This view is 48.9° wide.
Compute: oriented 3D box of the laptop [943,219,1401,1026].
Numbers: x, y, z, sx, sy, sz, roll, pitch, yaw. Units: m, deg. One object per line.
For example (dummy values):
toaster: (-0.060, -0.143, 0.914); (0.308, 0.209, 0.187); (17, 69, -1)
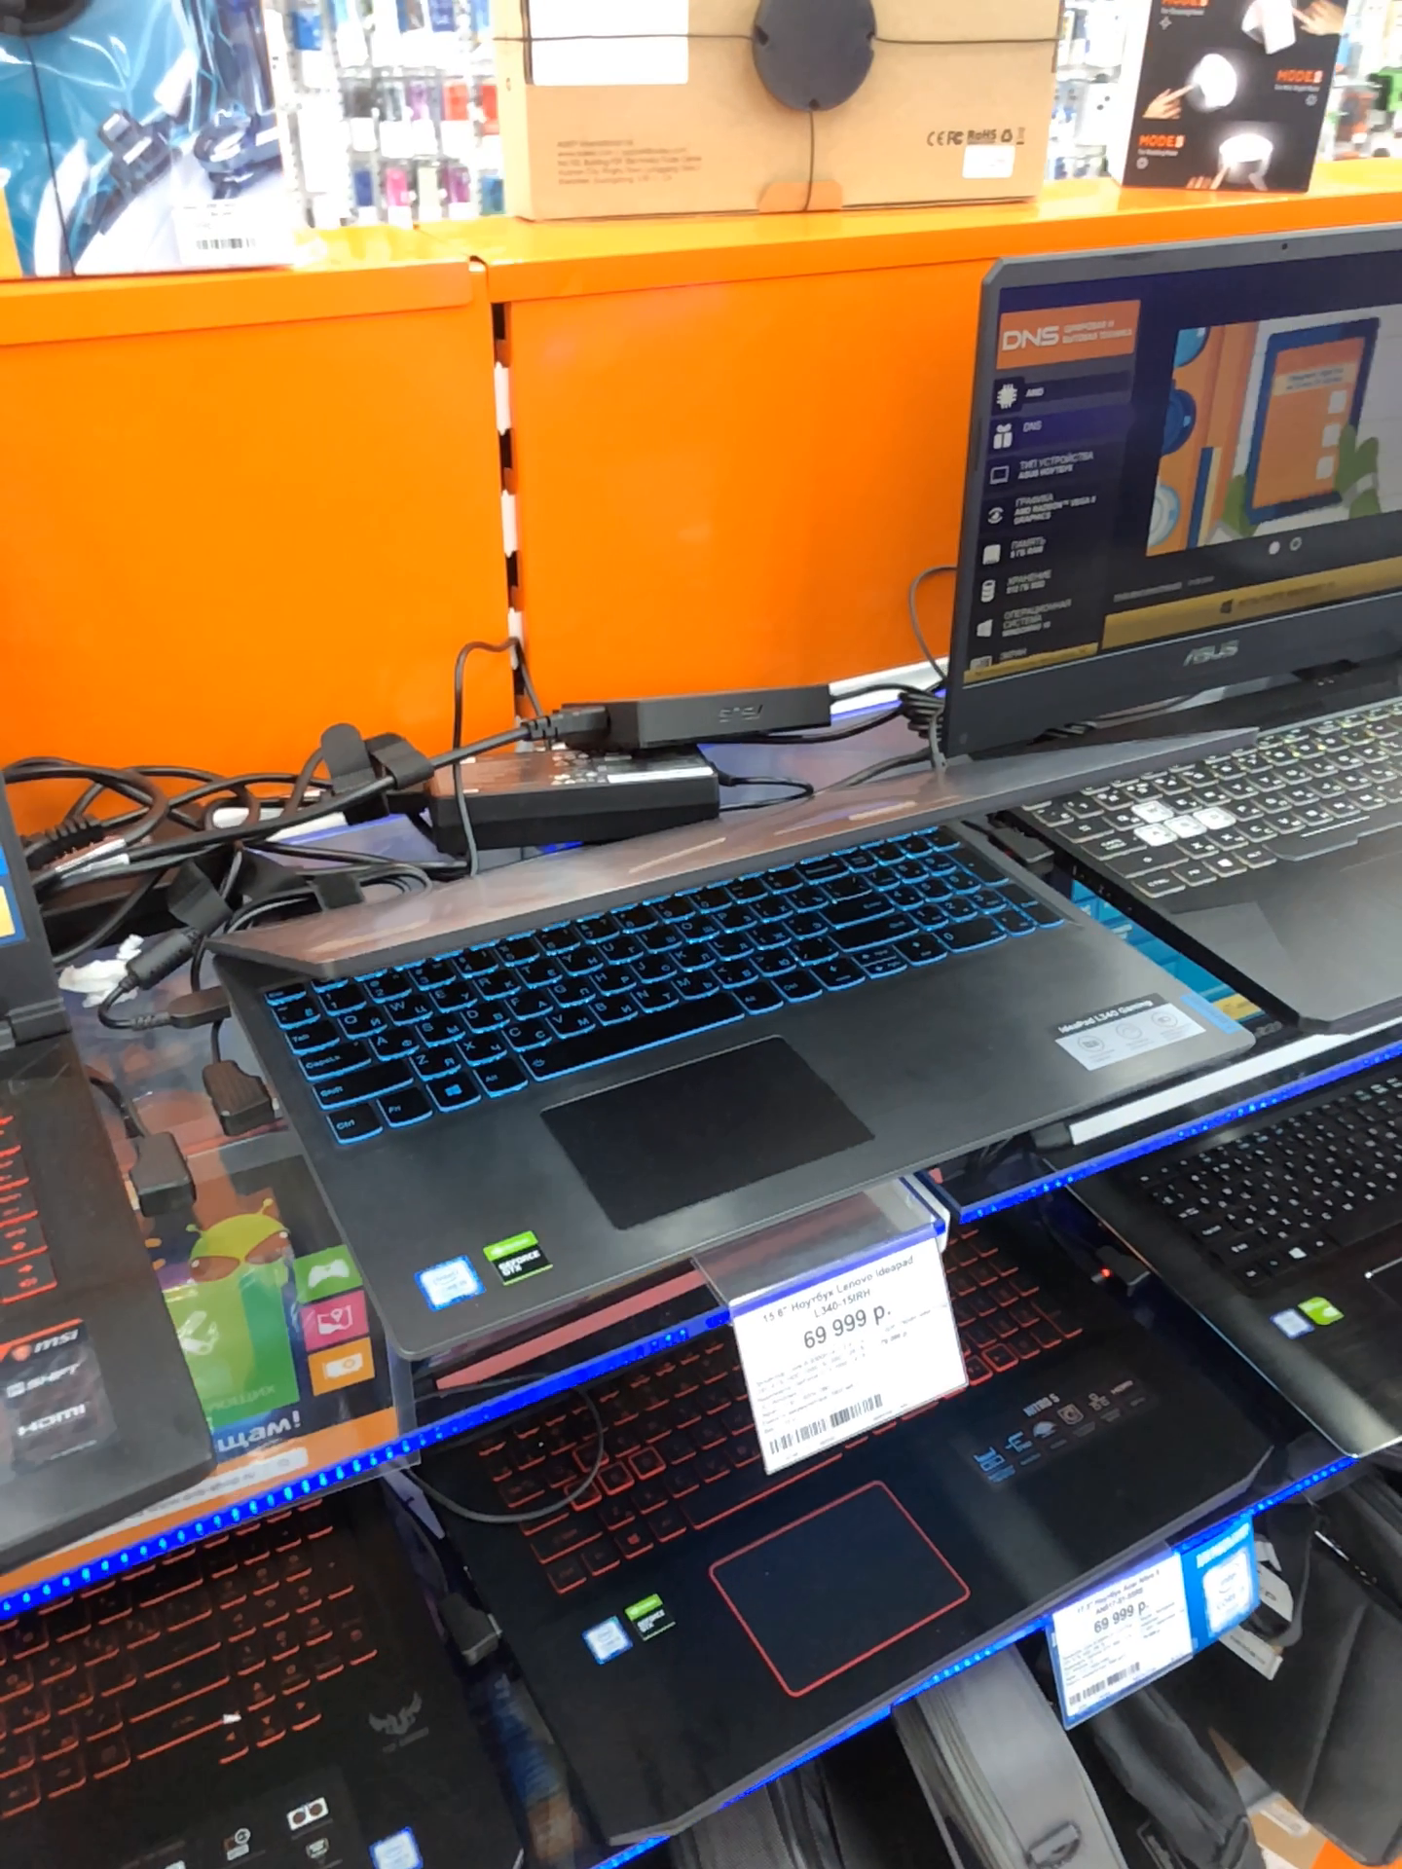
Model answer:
laptop: (0.360, -0.183, 0.751); (0.384, 0.250, 0.278); (-15, 35, -23)

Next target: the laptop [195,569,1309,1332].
laptop: (0.011, -0.025, 0.615); (0.348, 0.117, 0.241); (-16, 36, -23)

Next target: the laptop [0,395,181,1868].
laptop: (-0.381, 0.014, 0.418); (0.348, 0.228, 0.326); (-15, 35, -26)
